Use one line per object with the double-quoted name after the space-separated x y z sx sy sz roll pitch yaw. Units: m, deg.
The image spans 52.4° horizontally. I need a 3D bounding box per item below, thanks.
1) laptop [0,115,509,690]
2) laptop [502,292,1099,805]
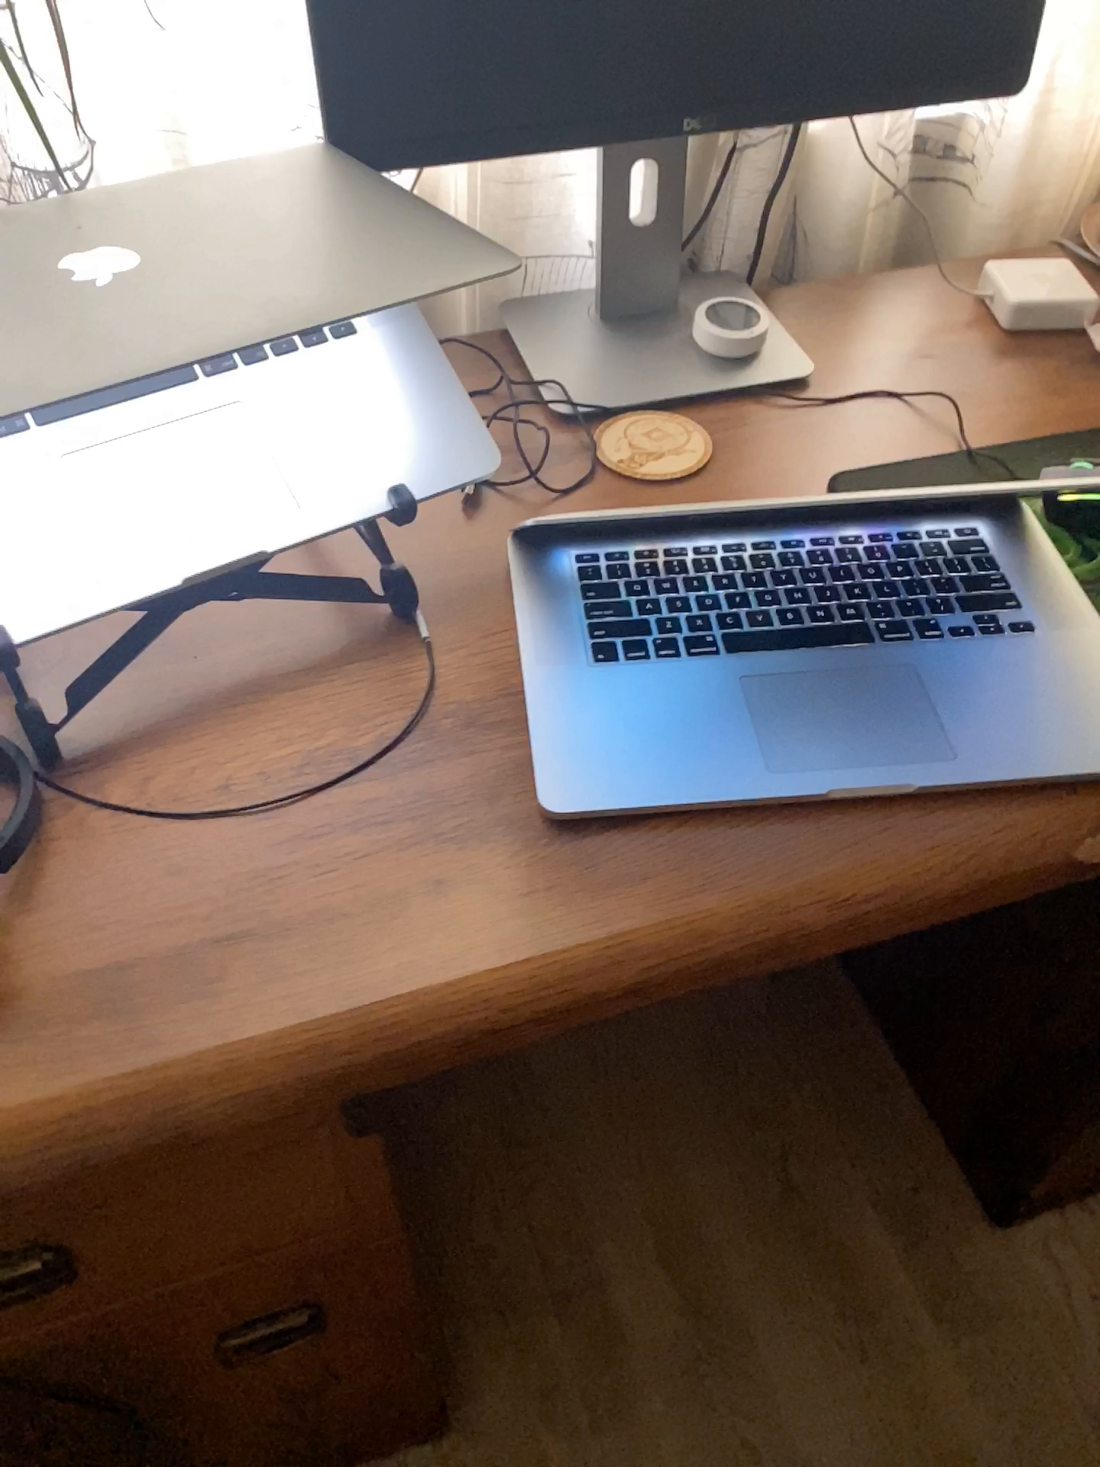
-0.233 -0.201 0.608 0.355 0.022 0.243 -25 76 -21 "laptop"
0.160 -0.111 0.626 0.355 0.152 0.236 -4 48 -4 "laptop"
